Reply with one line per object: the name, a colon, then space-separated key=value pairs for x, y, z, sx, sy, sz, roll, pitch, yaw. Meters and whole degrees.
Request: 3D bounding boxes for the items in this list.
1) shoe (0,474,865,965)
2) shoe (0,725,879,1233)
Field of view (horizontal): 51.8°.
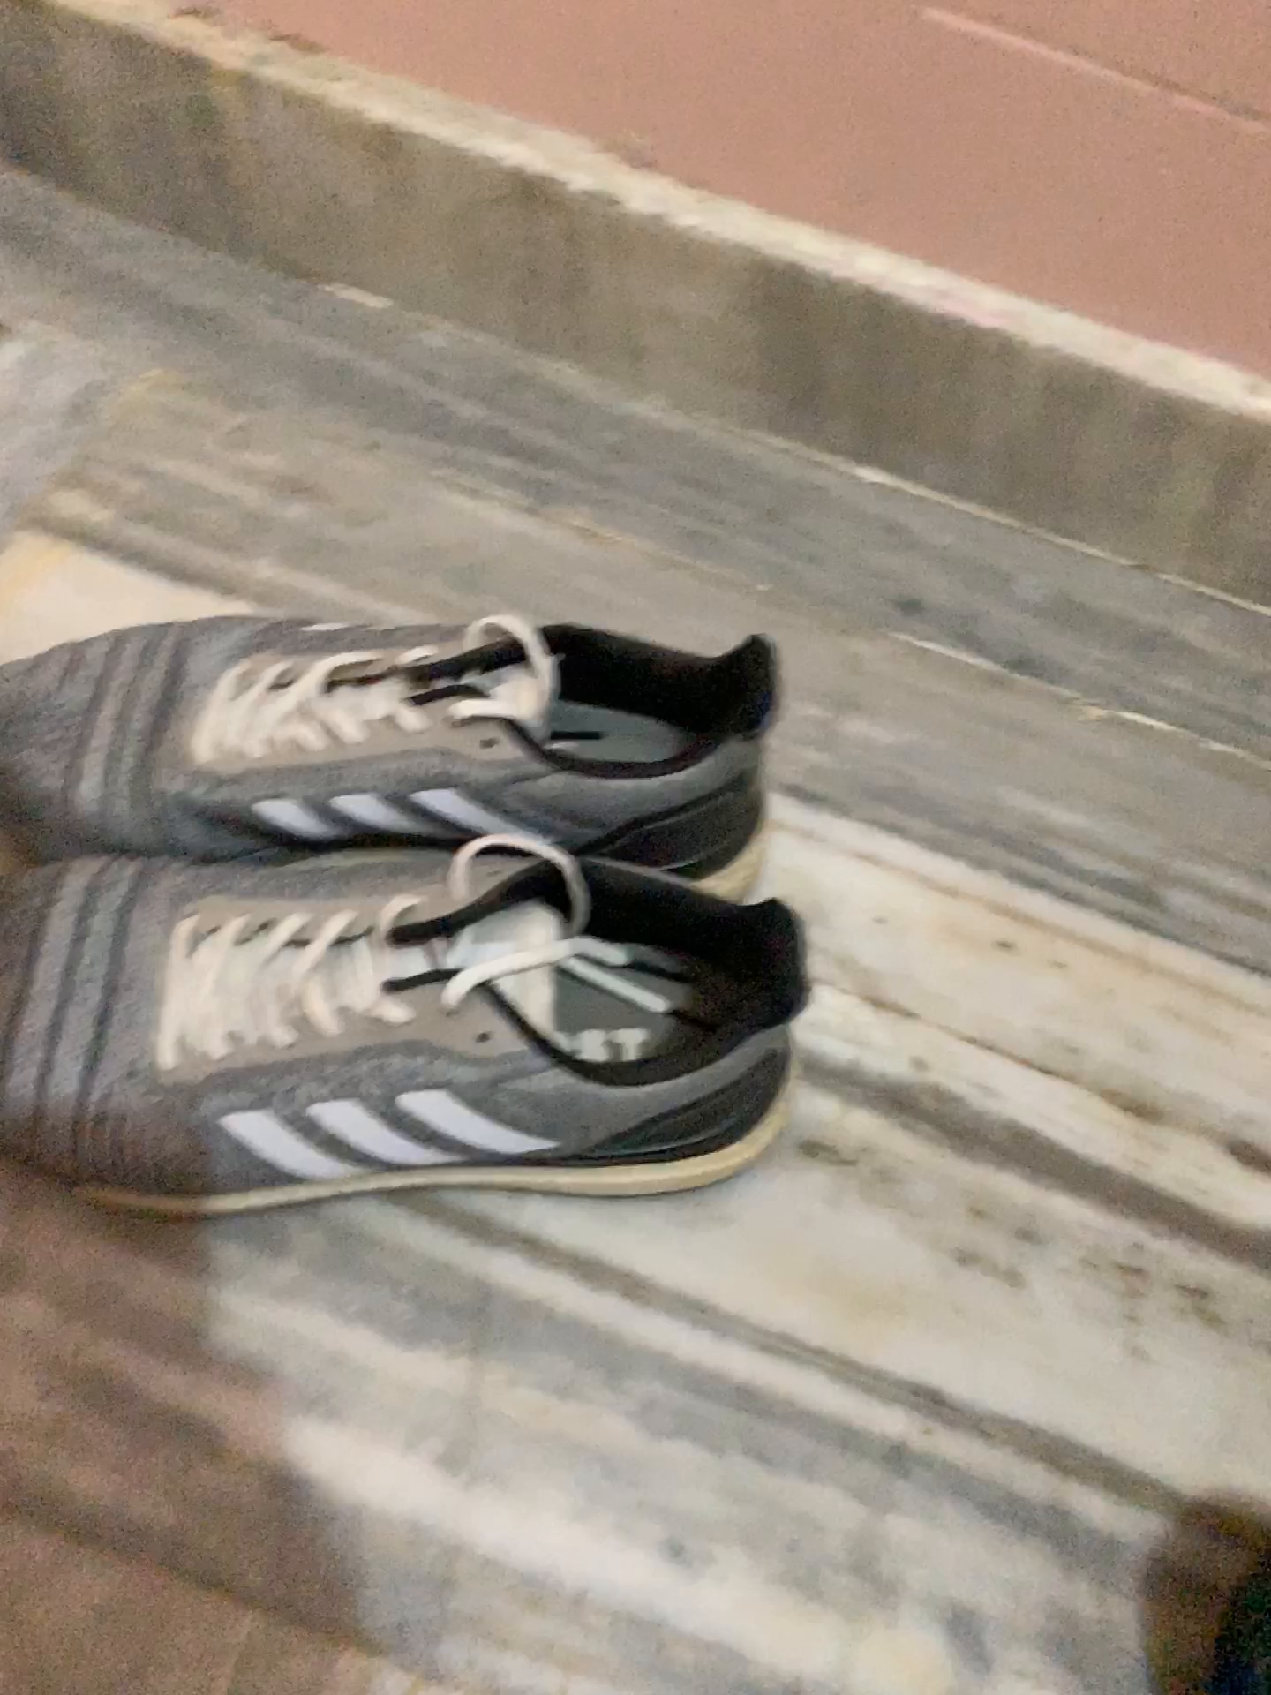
shoe: x=-0.084 y=-0.041 z=0.465 sx=0.310 sy=0.080 sz=0.110 roll=7 pitch=58 yaw=-7
shoe: x=-0.088 y=0.047 z=0.417 sx=0.300 sy=0.090 sz=0.120 roll=4 pitch=58 yaw=-9
